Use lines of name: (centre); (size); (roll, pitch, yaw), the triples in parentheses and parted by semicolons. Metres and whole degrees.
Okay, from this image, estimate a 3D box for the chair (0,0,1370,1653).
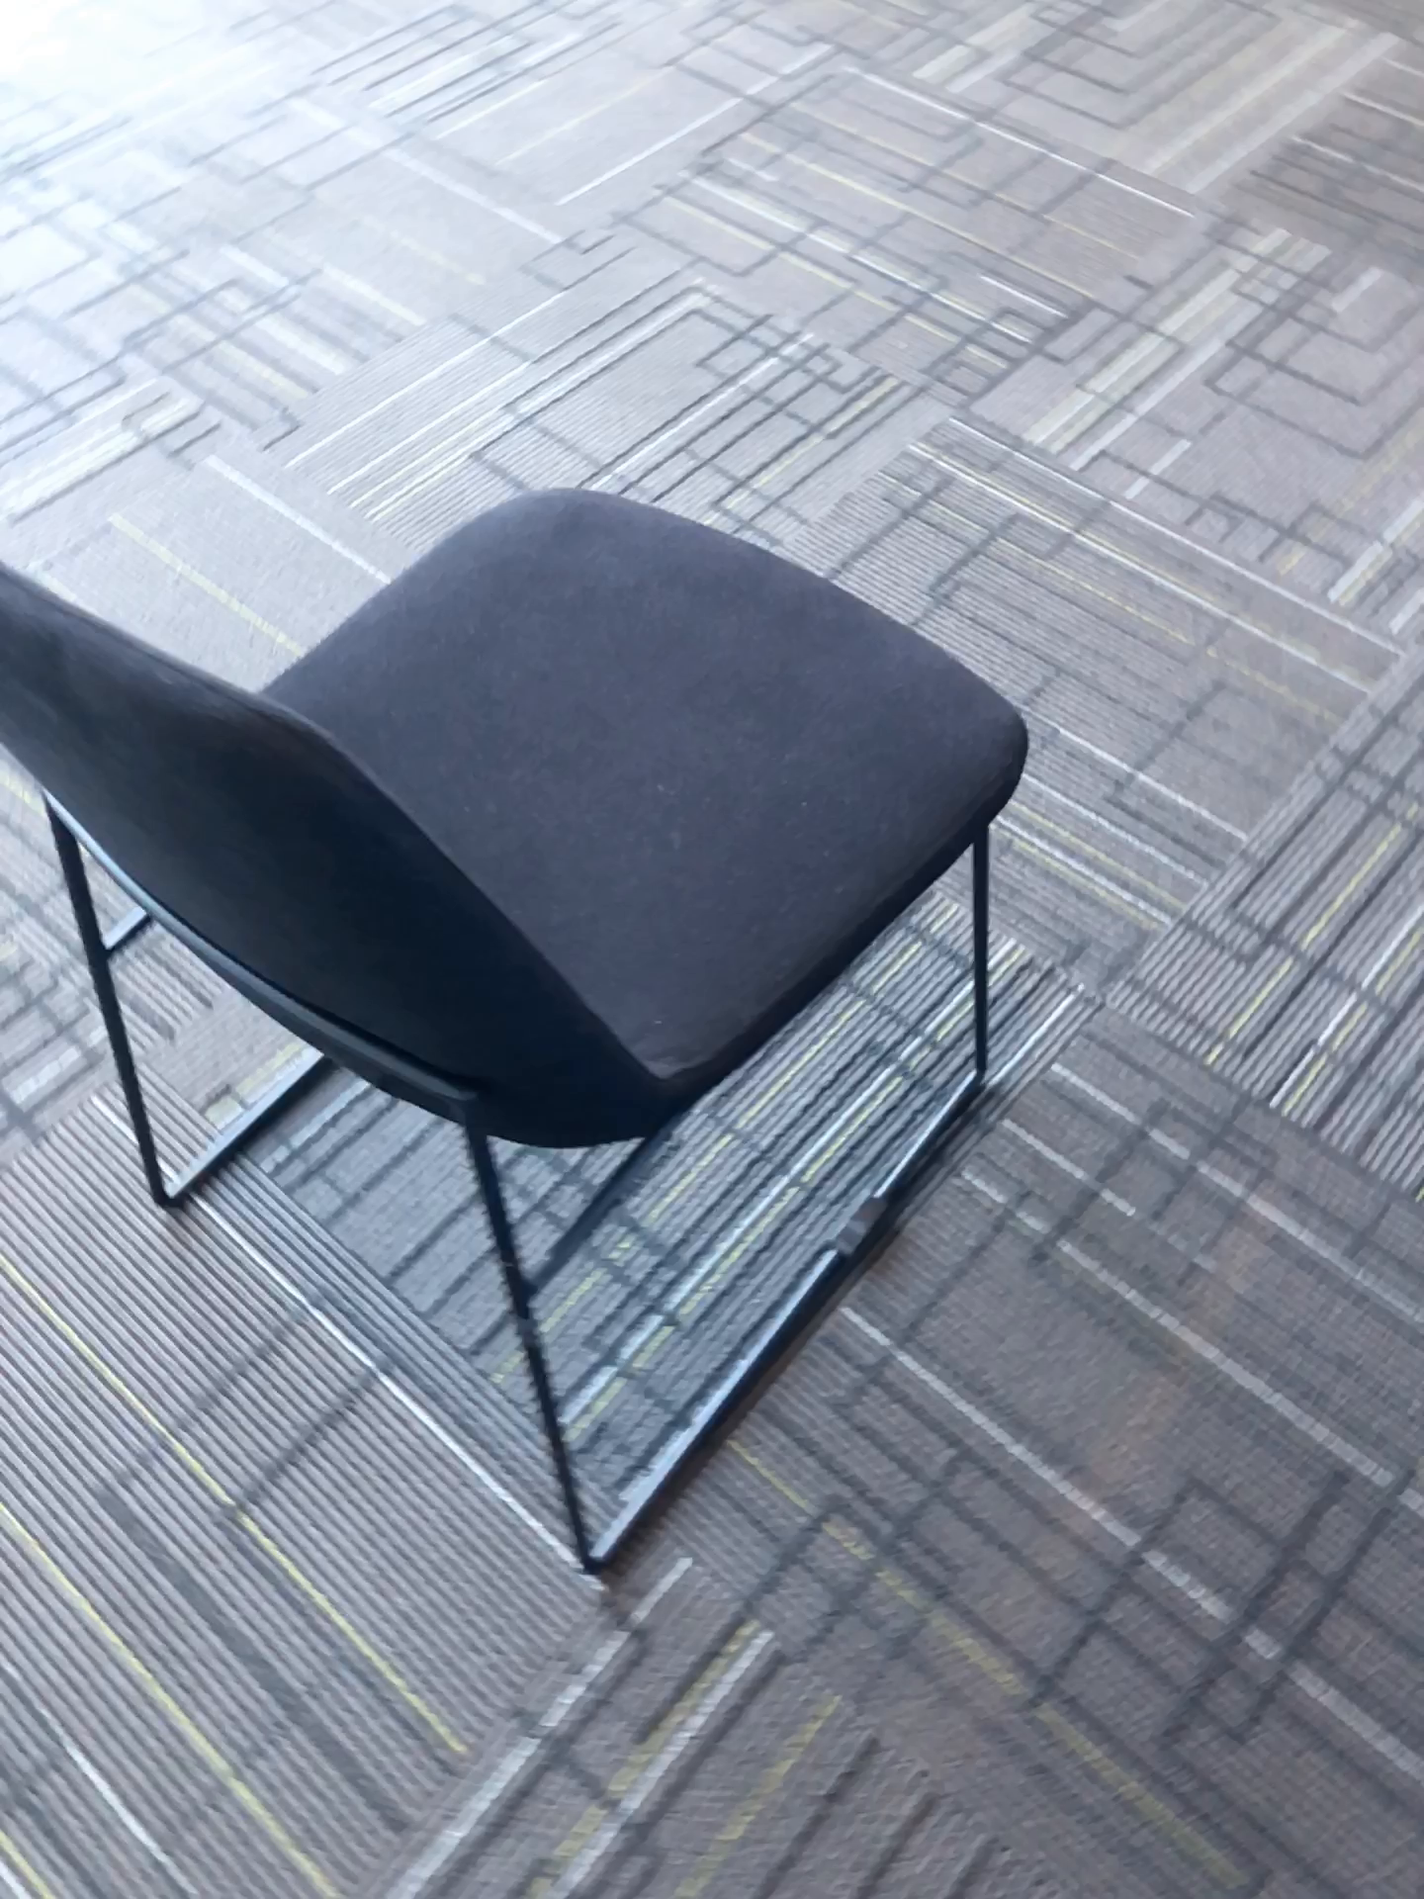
chair: (-0.133, -0.096, 0.910); (0.561, 0.768, 0.551); (33, 61, 21)
